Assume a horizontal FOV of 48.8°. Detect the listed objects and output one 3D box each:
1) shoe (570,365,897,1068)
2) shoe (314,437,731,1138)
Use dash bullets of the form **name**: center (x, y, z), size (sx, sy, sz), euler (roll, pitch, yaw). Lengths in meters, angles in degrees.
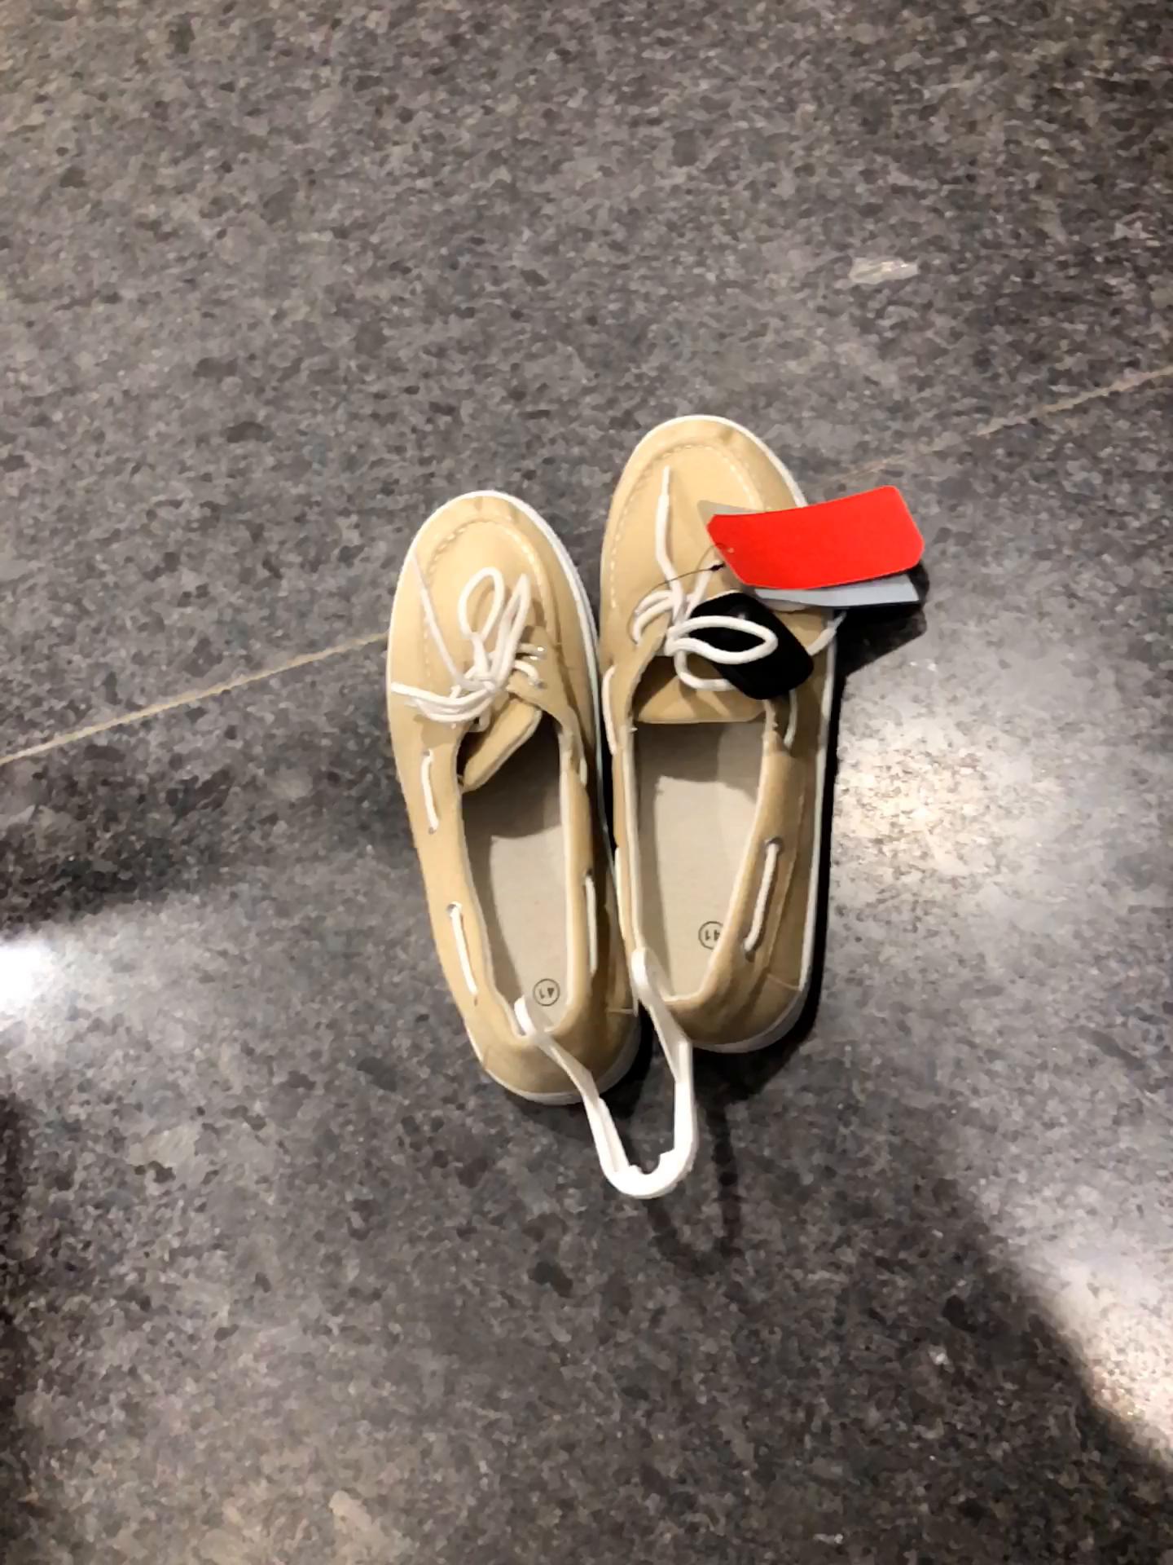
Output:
- **shoe**: center (0.057, -0.020, 0.504), size (0.096, 0.106, 0.242), euler (-6, 70, 15)
- **shoe**: center (-0.027, 0.006, 0.518), size (0.103, 0.106, 0.242), euler (-15, 68, 12)
